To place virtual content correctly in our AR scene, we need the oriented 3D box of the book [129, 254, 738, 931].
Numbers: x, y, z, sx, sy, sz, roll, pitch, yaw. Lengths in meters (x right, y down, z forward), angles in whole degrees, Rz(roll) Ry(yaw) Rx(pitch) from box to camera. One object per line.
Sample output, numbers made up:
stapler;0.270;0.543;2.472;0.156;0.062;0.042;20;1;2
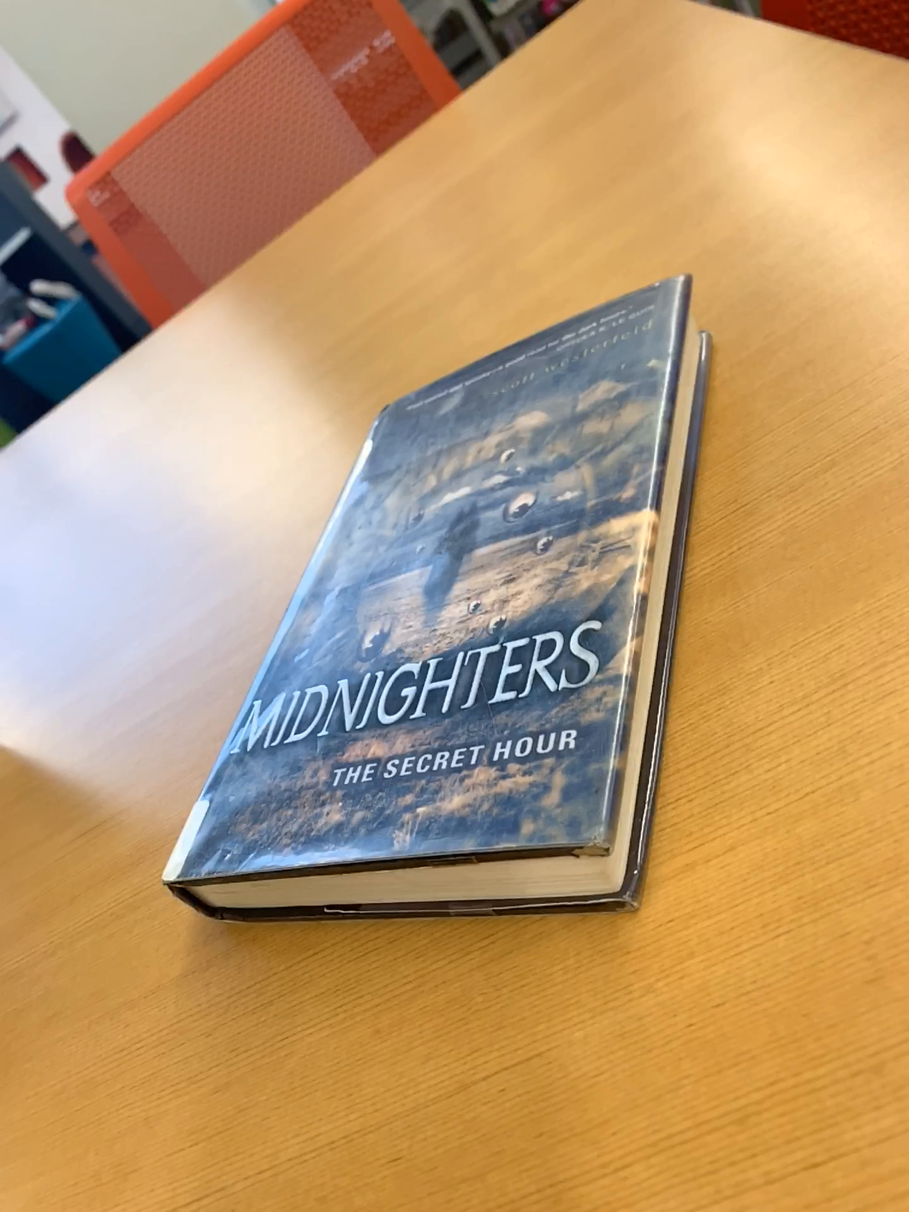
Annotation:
book;0.004;-0.009;0.301;0.151;0.040;0.215;-15;41;35
